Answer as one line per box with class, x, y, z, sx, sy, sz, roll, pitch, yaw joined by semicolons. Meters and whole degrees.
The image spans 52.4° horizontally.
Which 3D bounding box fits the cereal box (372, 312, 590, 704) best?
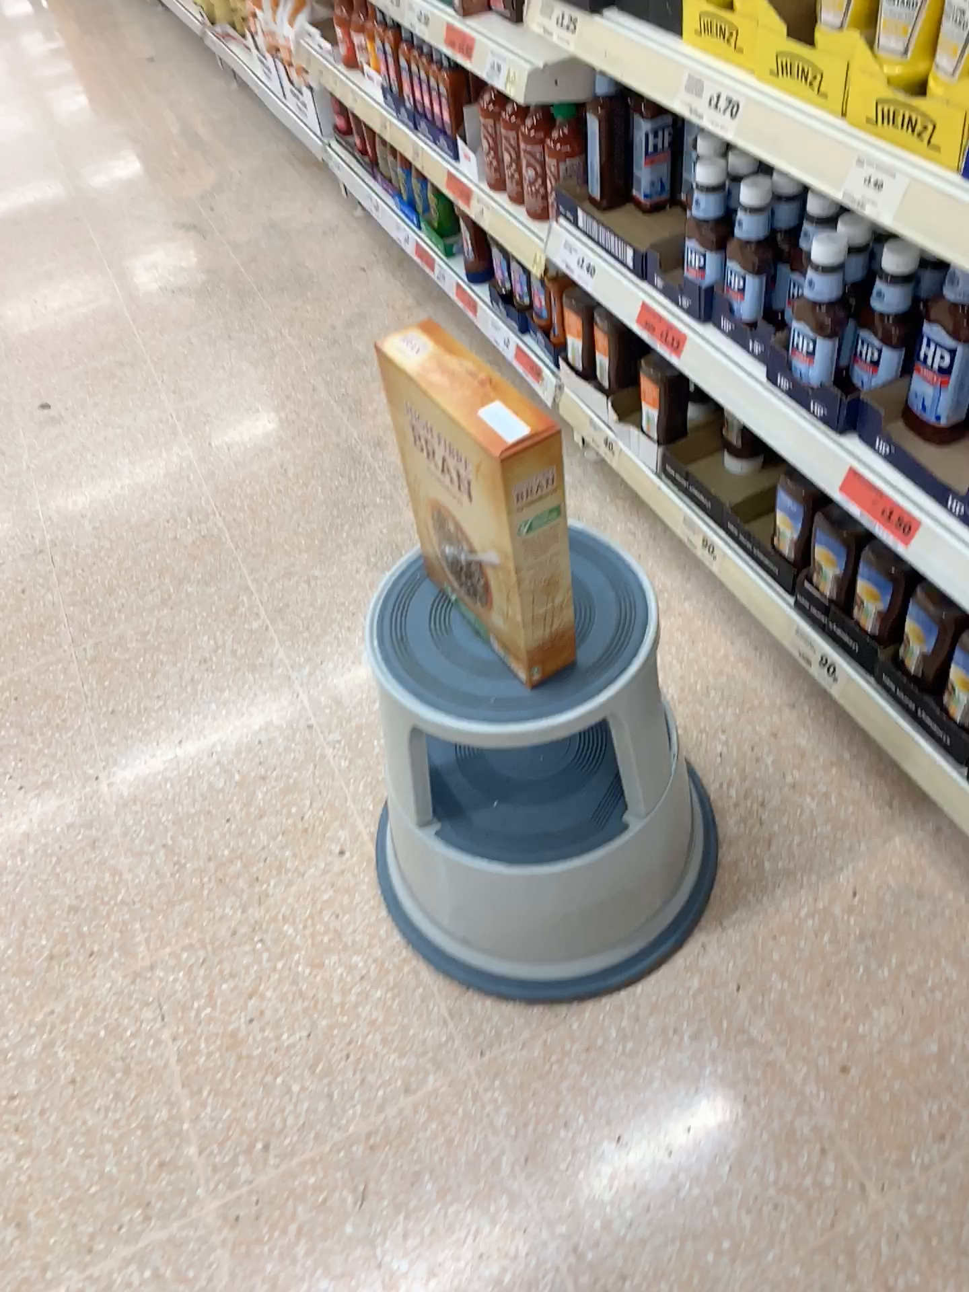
cereal box;0.002;-0.114;0.856;0.060;0.278;0.201;-28;50;-16
